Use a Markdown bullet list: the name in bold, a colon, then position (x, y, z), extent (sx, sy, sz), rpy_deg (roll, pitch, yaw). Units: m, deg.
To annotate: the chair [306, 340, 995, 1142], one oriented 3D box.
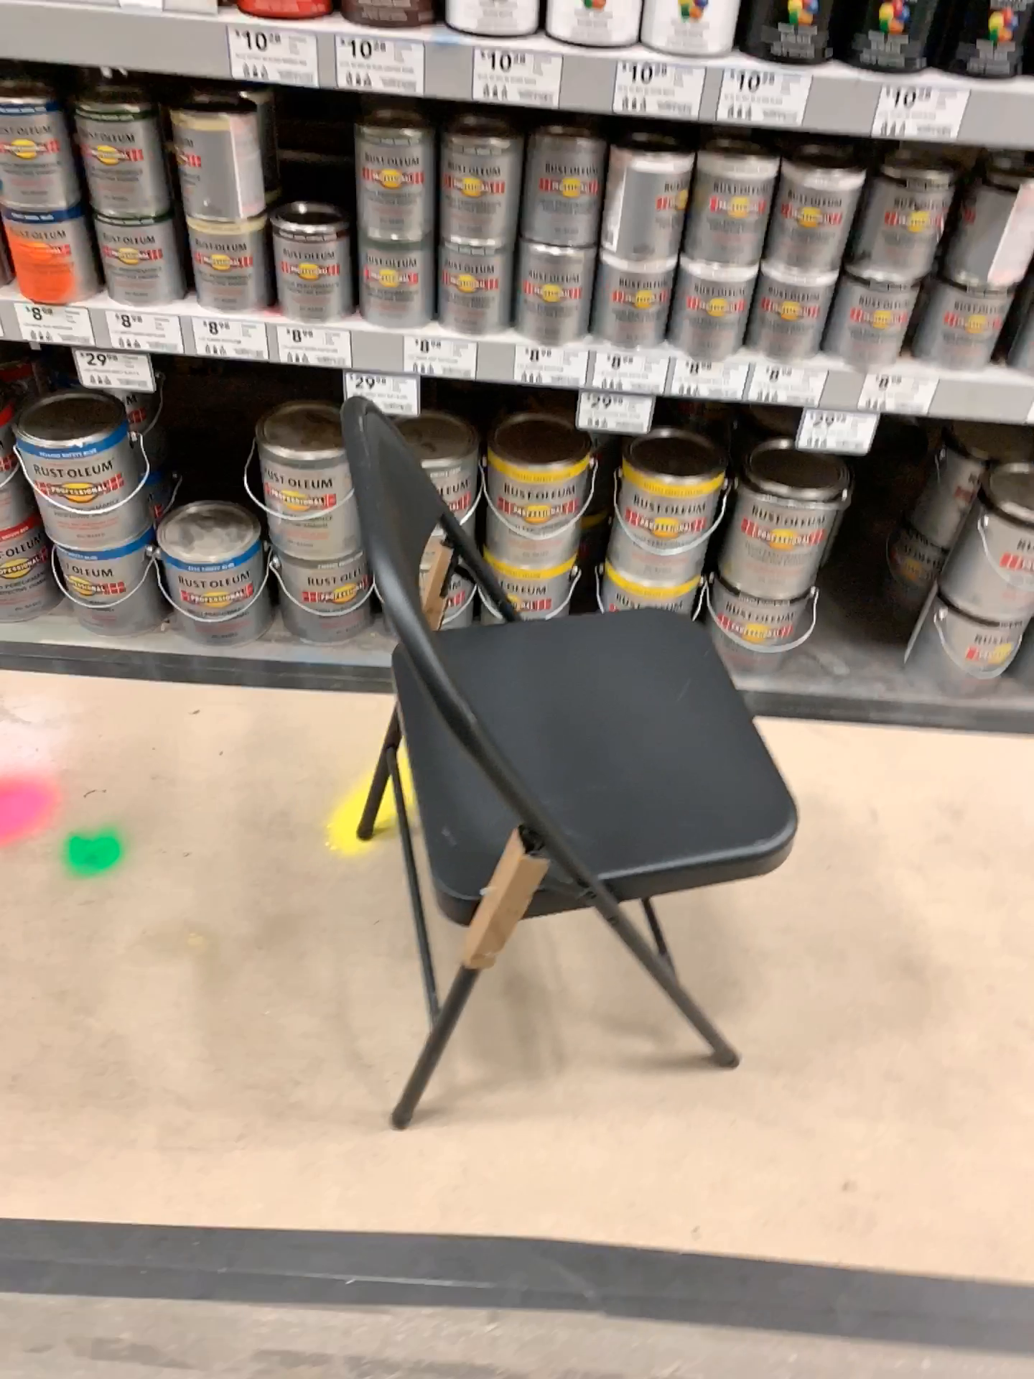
- **chair**: position (0.054, 0.074, 1.133), extent (0.474, 0.713, 0.453), rpy_deg (-5, 45, -10)
